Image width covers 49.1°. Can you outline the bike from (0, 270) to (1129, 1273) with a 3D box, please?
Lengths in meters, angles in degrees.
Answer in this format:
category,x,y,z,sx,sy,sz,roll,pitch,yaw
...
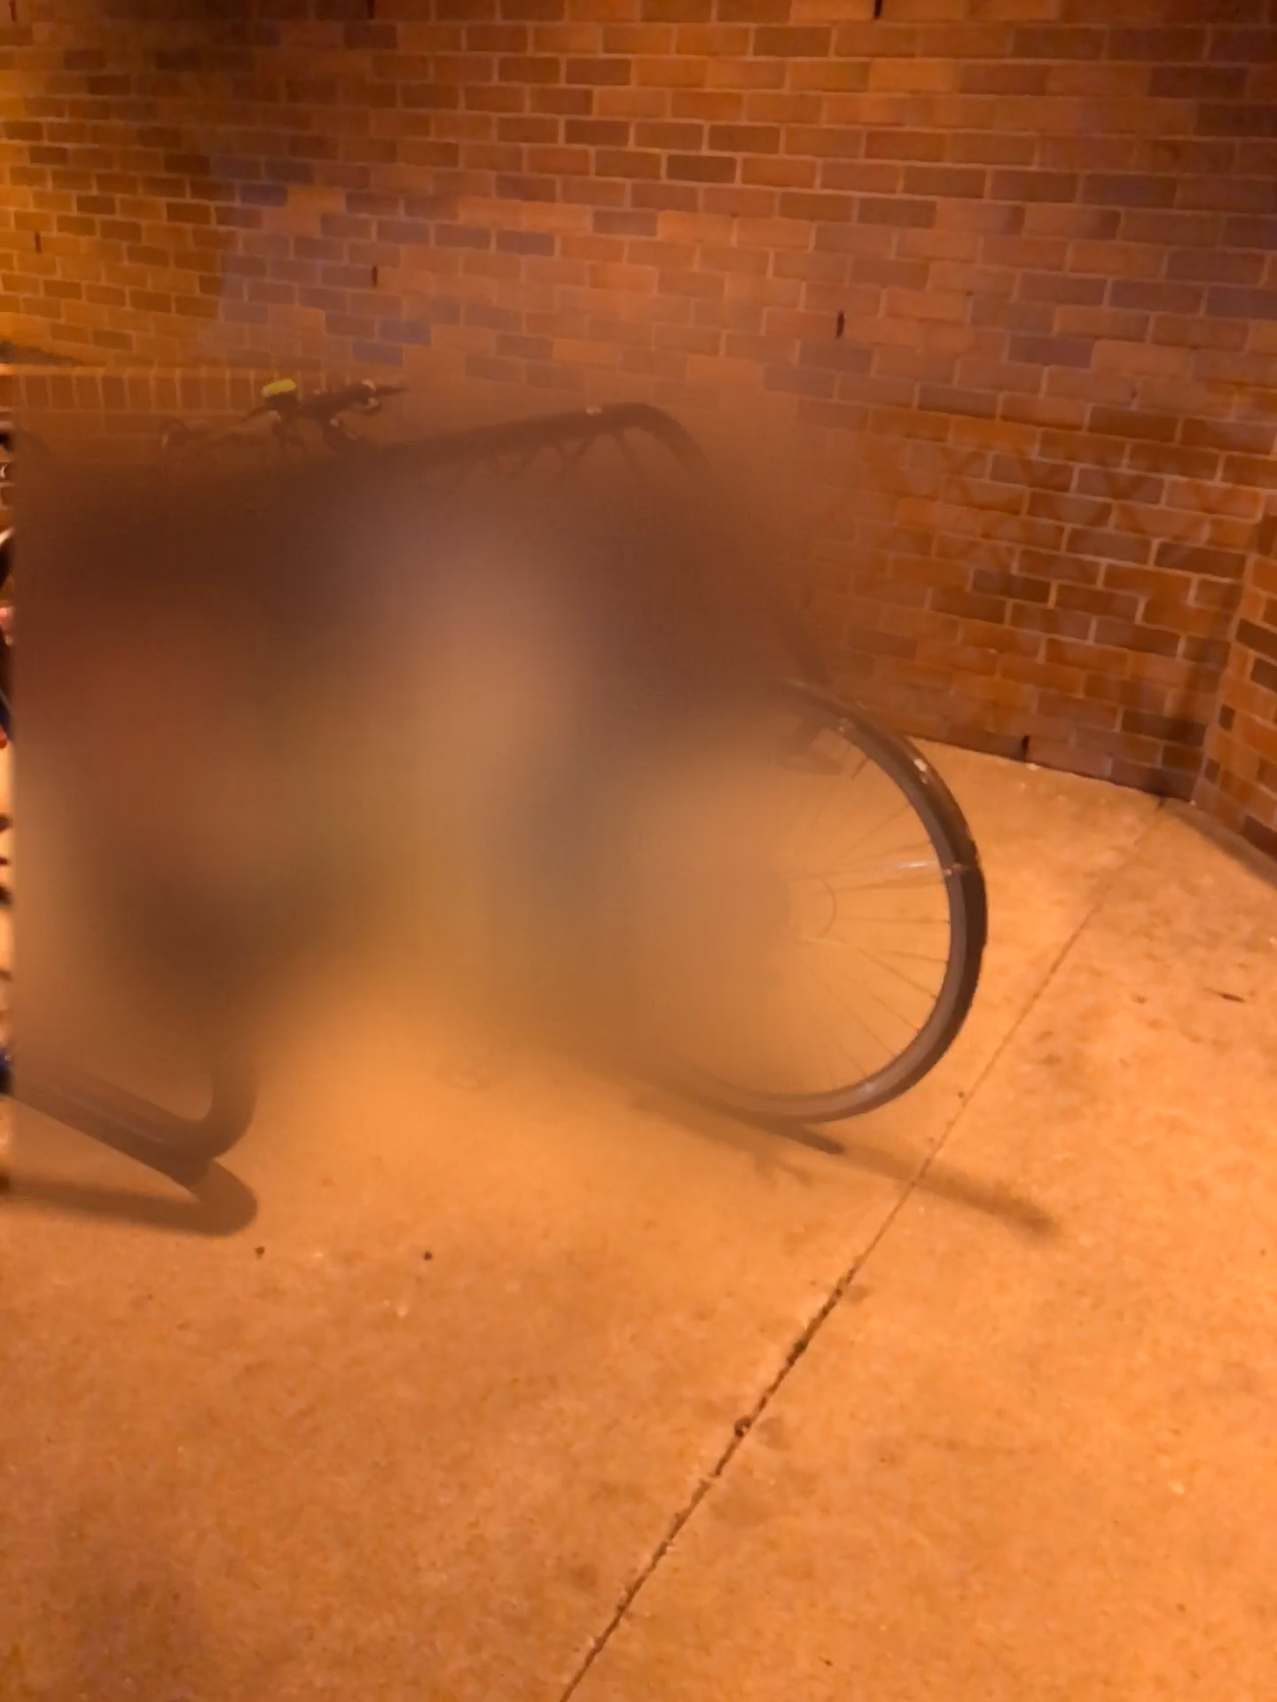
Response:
category,x,y,z,sx,sy,sz,roll,pitch,yaw
bike,-0.249,-0.253,2.097,1.643,0.865,0.640,20,29,23
